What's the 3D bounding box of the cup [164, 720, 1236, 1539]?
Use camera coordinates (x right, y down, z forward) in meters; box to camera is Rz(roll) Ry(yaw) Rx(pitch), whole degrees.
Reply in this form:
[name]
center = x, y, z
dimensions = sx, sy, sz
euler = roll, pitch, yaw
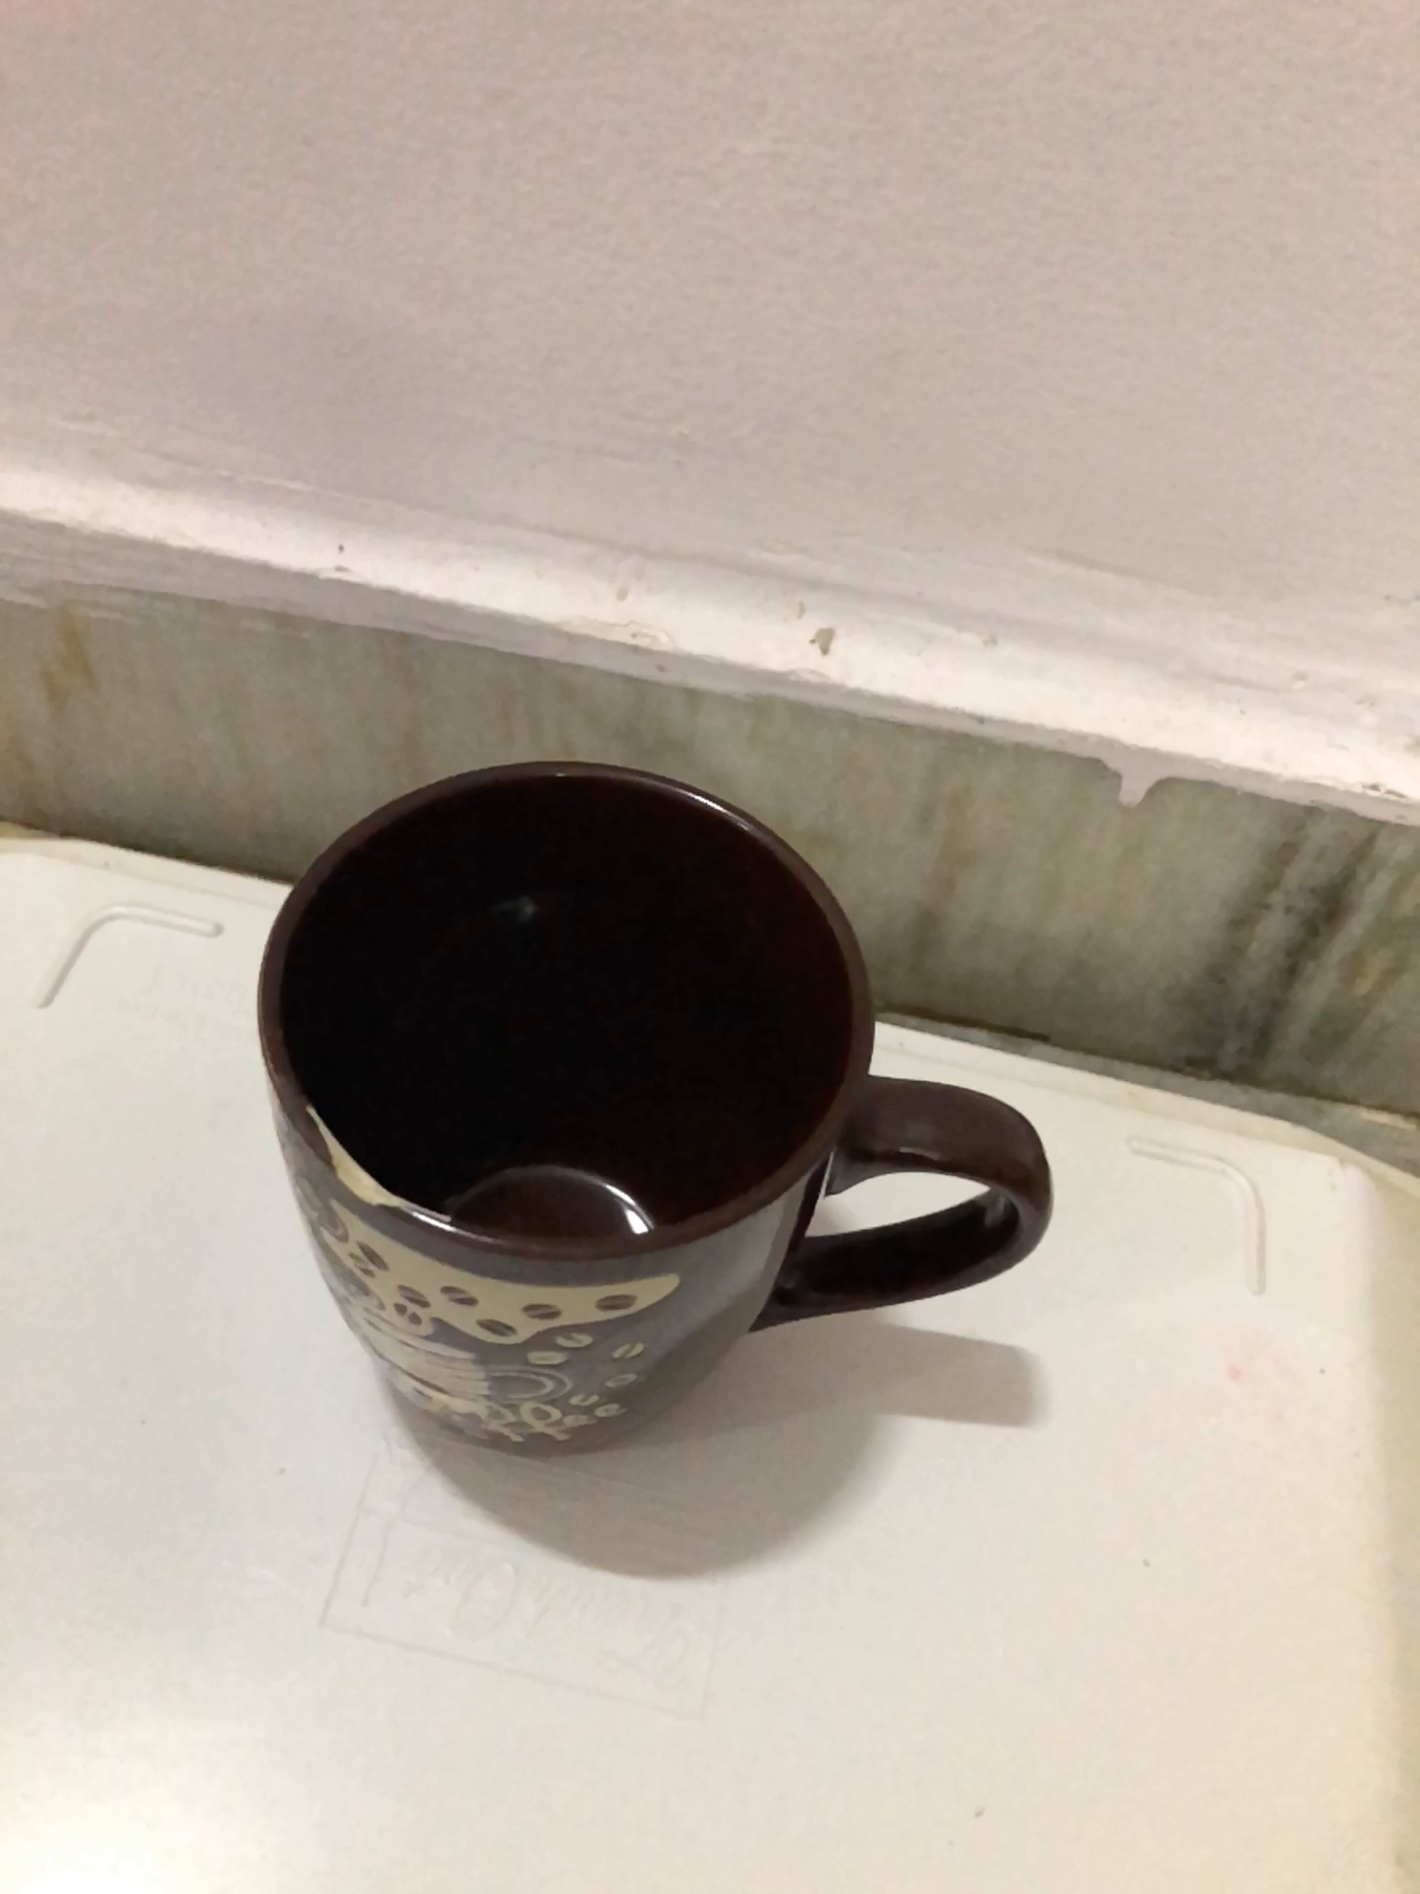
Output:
[cup]
center = -0.005, 0.033, 0.237
dimensions = 0.120, 0.100, 0.070
euler = 5, 51, -5
